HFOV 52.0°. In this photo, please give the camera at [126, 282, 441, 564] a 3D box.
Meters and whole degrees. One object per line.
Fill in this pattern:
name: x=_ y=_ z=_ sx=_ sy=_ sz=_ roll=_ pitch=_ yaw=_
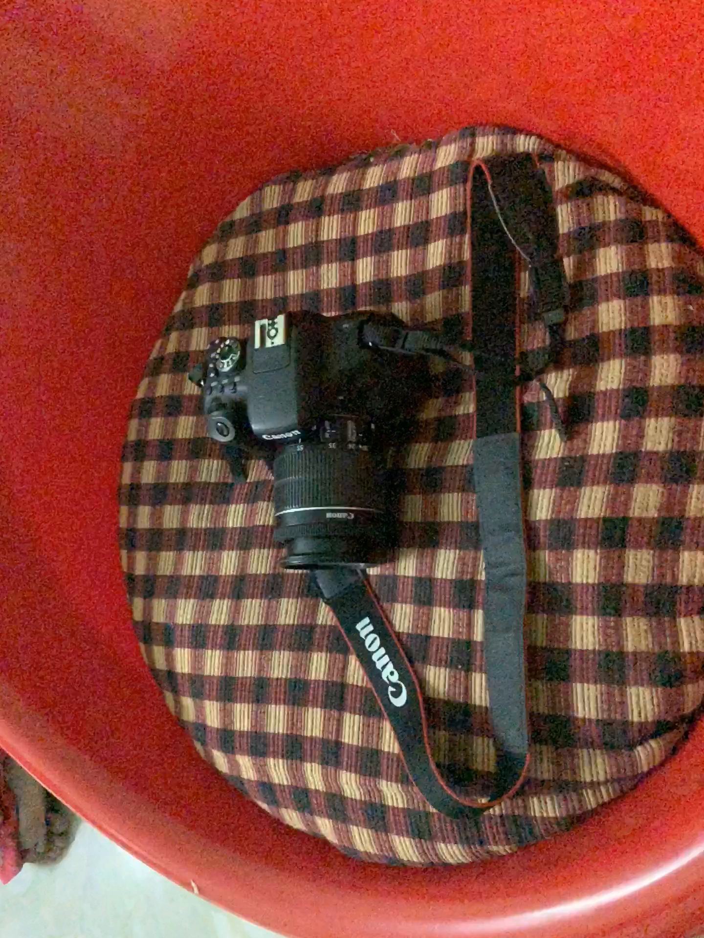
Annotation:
camera: x=-0.039 y=-0.013 z=0.445 sx=0.140 sy=0.130 sz=0.138 roll=-6 pitch=81 yaw=31
